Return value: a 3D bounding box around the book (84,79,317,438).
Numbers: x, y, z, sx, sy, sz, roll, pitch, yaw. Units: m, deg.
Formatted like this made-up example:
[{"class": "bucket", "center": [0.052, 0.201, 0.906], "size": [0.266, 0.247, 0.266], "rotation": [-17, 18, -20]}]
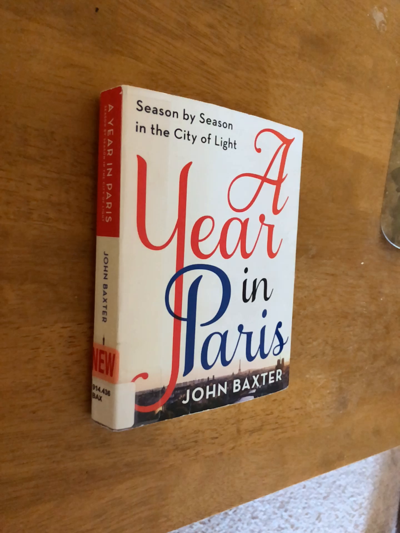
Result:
[{"class": "book", "center": [0.007, -0.003, 0.286], "size": [0.151, 0.040, 0.182], "rotation": [-1, 96, -39]}]
